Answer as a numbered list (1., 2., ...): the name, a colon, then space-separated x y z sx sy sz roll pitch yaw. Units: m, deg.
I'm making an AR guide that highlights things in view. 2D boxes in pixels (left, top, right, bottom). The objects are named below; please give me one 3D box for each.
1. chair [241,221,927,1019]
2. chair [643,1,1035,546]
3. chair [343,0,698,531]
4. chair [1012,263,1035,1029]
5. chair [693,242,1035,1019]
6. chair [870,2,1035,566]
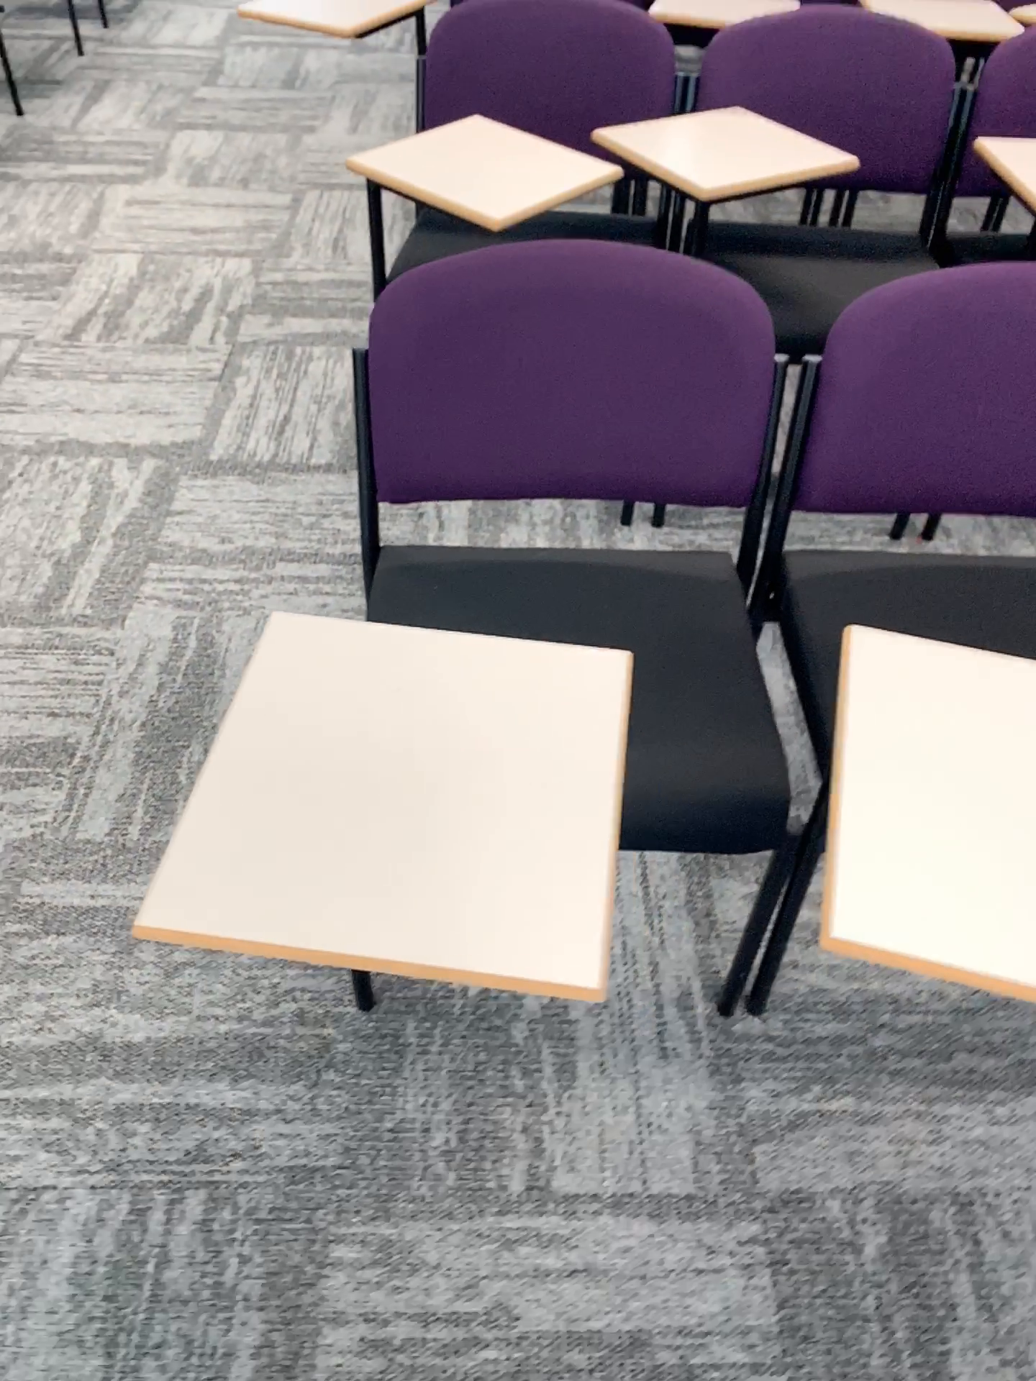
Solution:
1. chair: 0.040 -0.041 1.257 0.515 0.802 0.505 1 45 -1
2. chair: 0.536 -0.755 1.974 0.516 0.782 0.505 4 45 2
3. chair: 0.018 -0.798 1.992 0.516 0.802 0.505 6 45 3
4. chair: 1.070 -0.012 1.272 0.515 0.792 0.485 1 45 -1
5. chair: 0.552 -0.031 1.267 0.515 0.792 0.495 1 45 -1
6. chair: 1.049 -0.722 1.946 0.516 0.802 0.505 5 45 3
